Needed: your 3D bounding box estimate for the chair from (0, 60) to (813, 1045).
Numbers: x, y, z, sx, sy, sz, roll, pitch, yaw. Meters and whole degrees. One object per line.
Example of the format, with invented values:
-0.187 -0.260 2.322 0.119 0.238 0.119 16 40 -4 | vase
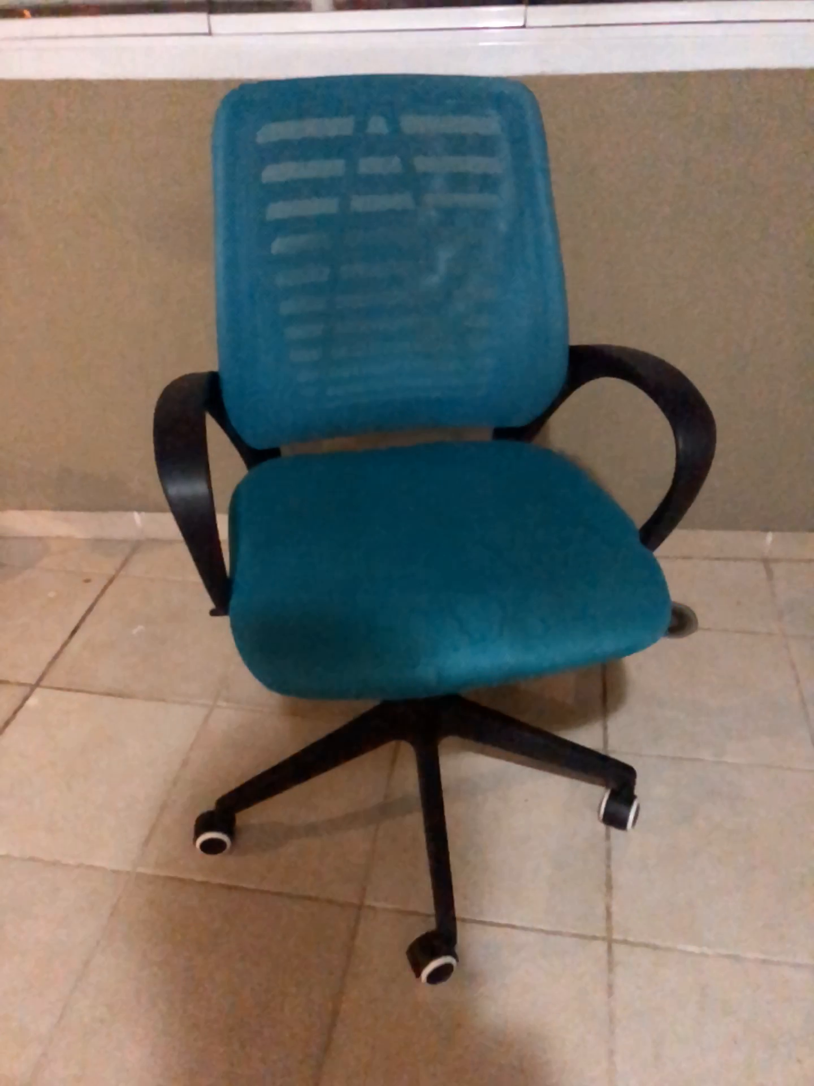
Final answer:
0.012 -0.037 1.143 0.710 0.922 0.746 -7 34 -6 | chair
